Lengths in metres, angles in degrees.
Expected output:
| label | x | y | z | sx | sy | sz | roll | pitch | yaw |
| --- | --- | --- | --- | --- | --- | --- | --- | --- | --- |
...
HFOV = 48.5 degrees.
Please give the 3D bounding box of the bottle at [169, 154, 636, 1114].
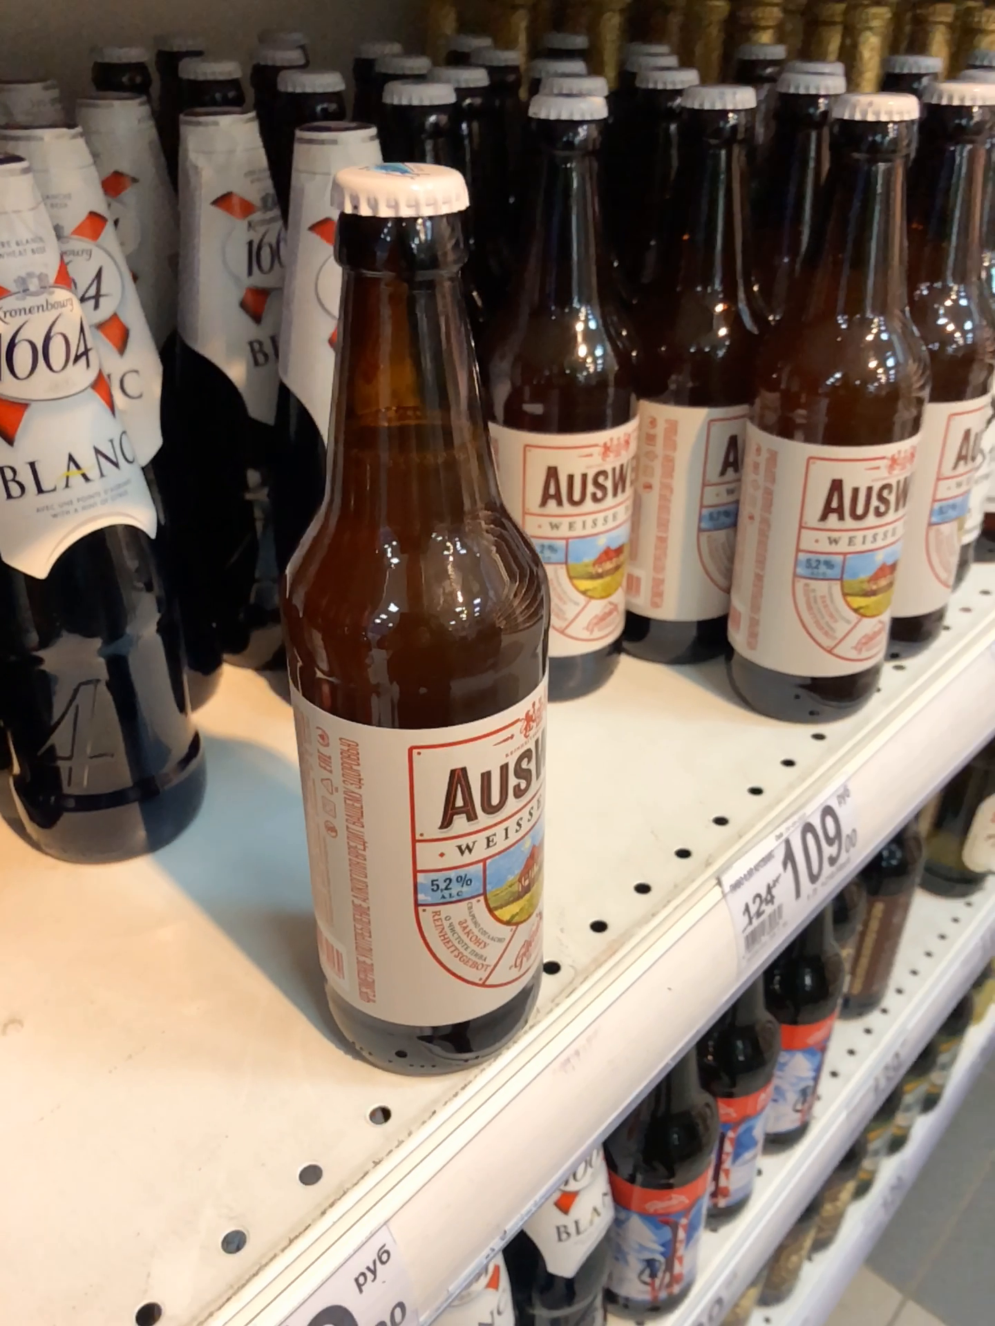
| label | x | y | z | sx | sy | sz | roll | pitch | yaw |
| --- | --- | --- | --- | --- | --- | --- | --- | --- | --- |
| bottle | -0.016 | 0.001 | 0.284 | 0.070 | 0.229 | 0.080 | 10 | 33 | 14 |
